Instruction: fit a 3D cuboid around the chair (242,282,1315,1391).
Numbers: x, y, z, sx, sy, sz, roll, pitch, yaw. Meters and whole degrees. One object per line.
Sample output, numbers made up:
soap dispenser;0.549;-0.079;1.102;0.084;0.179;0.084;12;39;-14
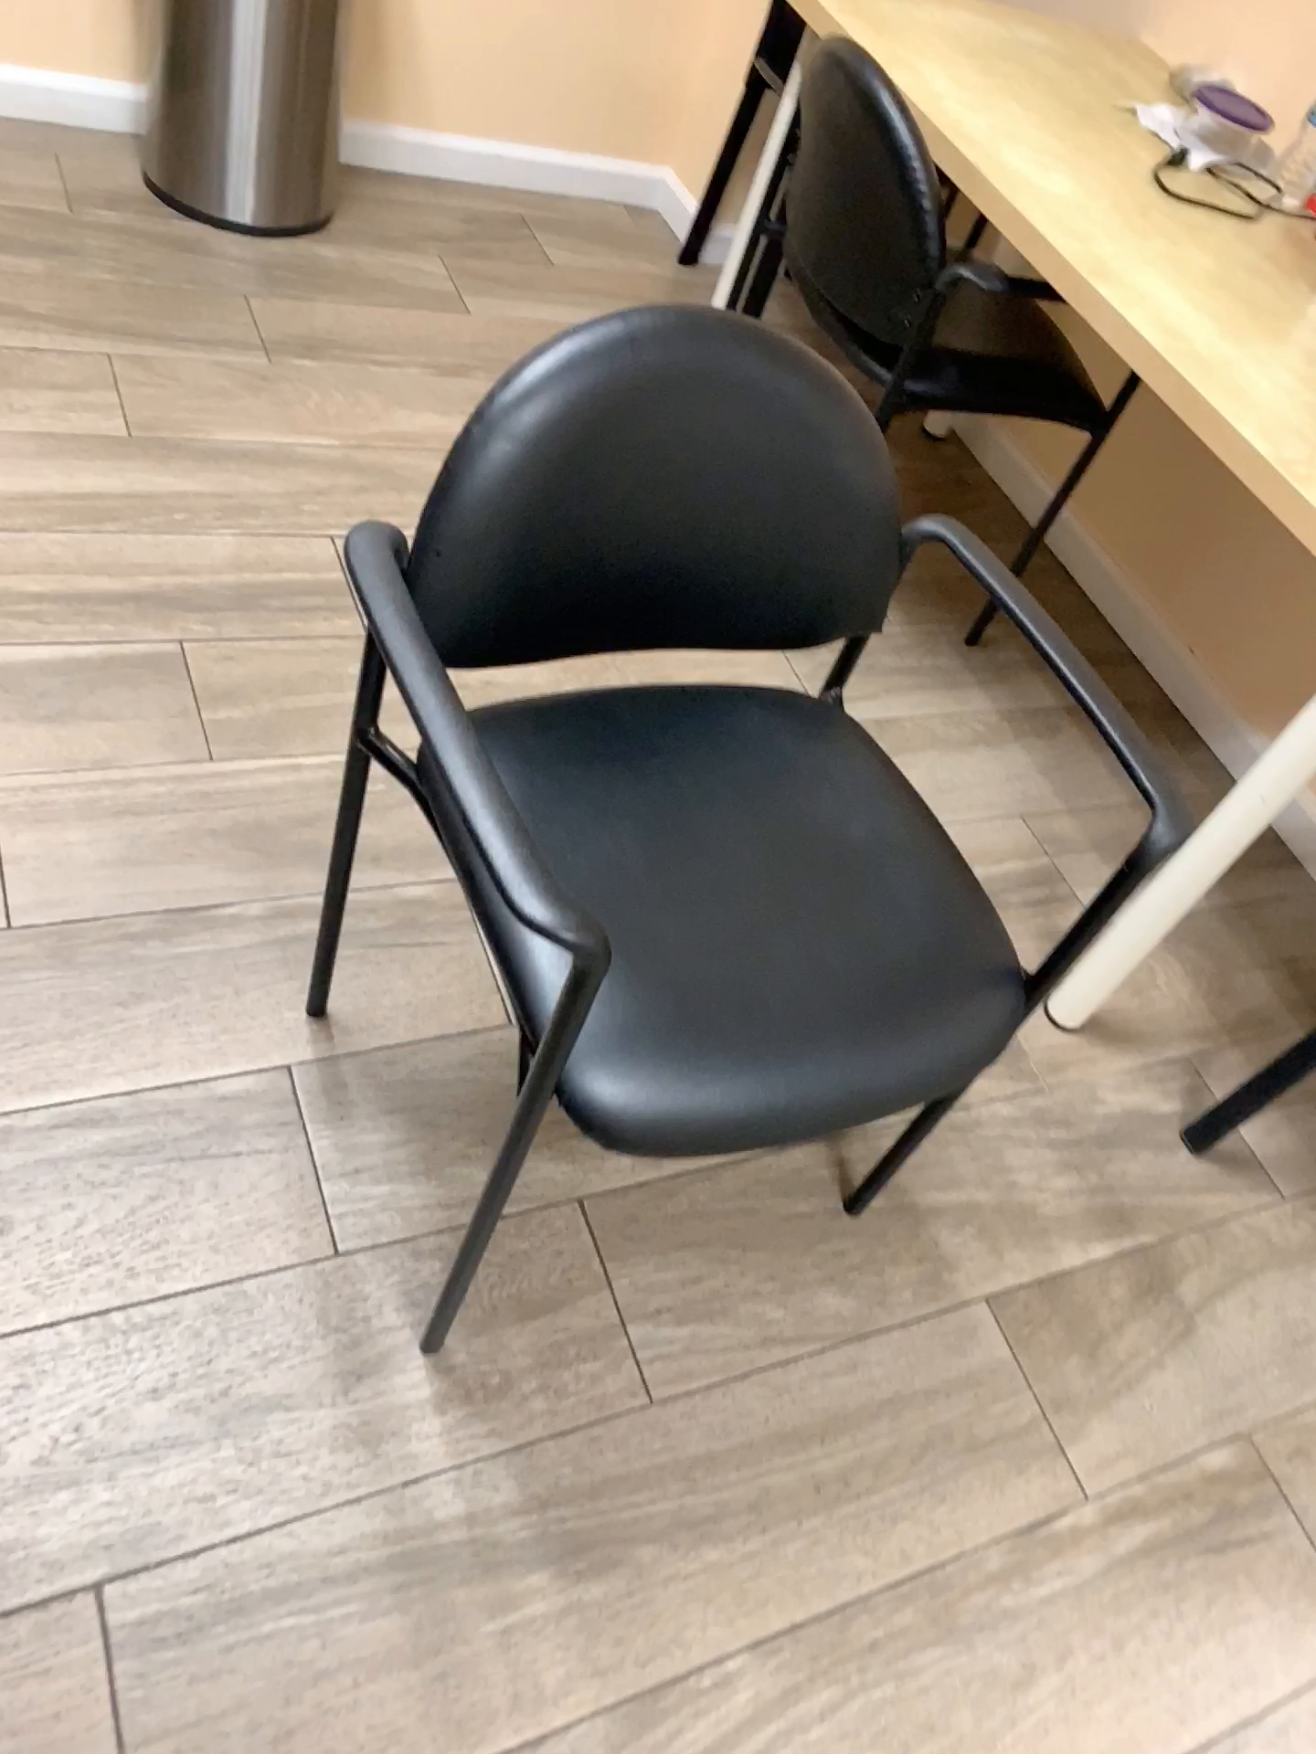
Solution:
chair;0.021;-0.020;1.189;0.592;0.736;0.521;-10;55;-29
